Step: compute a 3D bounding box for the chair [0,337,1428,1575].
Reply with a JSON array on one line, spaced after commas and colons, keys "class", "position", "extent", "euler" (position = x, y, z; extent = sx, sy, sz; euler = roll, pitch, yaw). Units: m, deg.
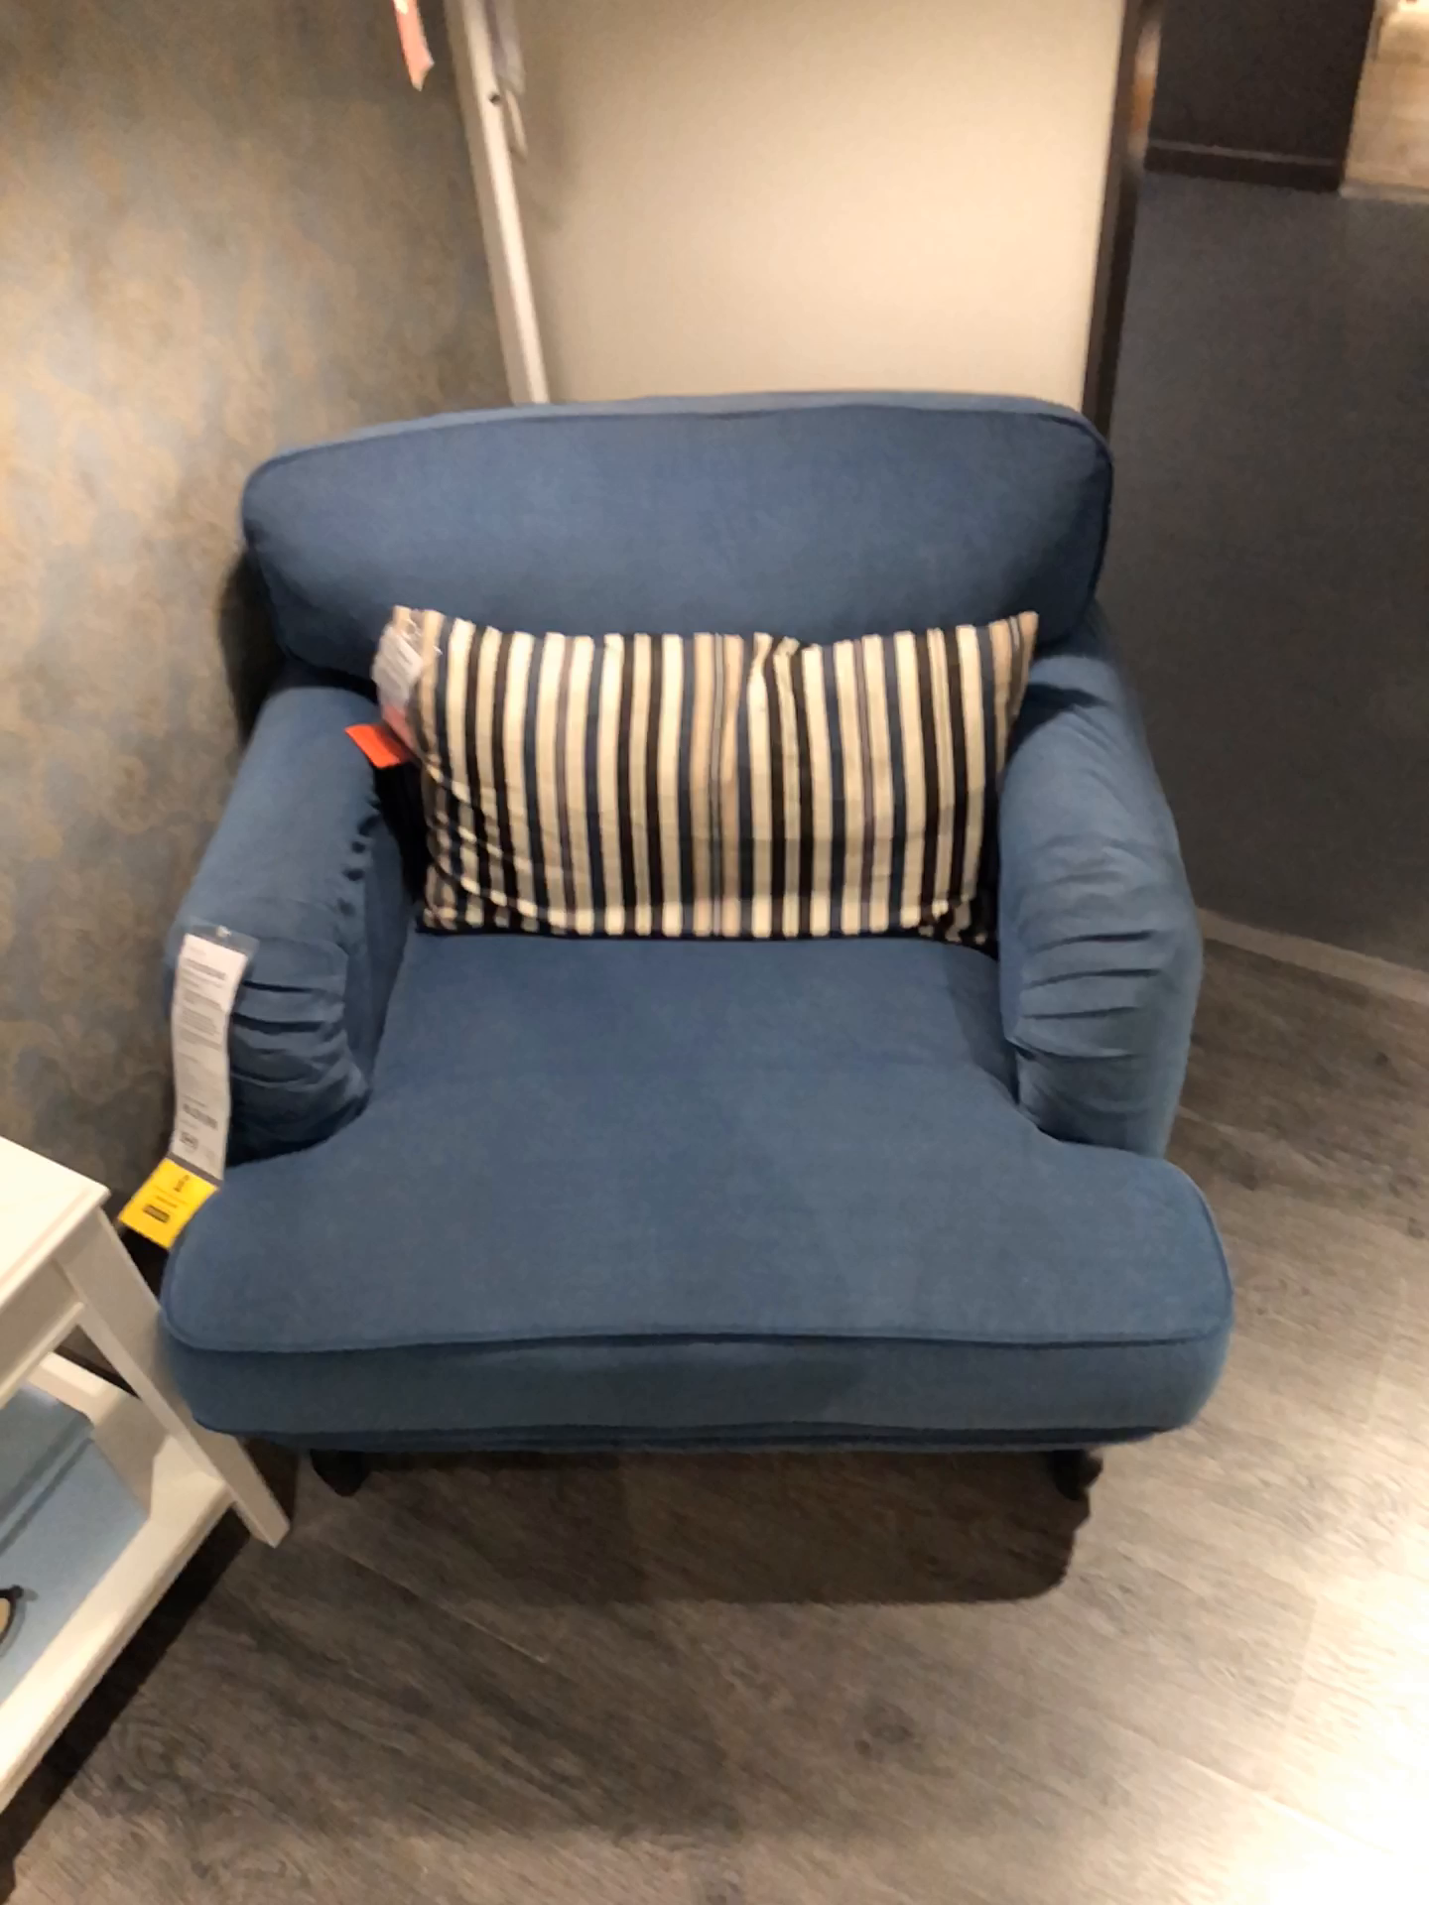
[{"class": "chair", "position": [-0.006, 0.002, 1.371], "extent": [0.890, 0.695, 0.805], "euler": [-2, 46, 4]}]
